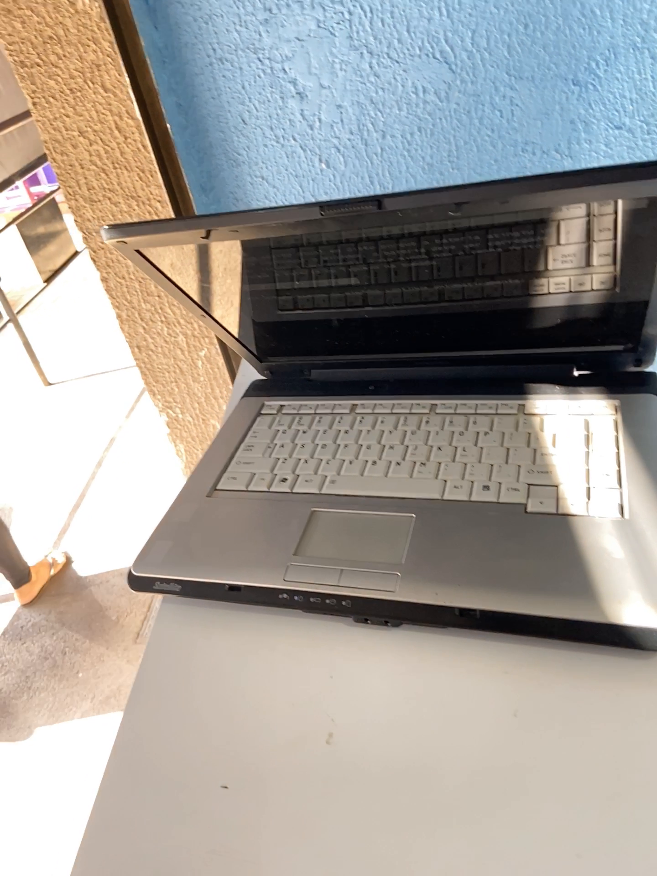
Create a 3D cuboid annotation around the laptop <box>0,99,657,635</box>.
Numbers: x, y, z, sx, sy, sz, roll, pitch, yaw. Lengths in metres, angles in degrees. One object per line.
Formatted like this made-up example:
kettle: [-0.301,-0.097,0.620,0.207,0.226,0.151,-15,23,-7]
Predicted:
laptop: [0.039,-0.059,0.451,0.351,0.202,0.247,1,38,21]
